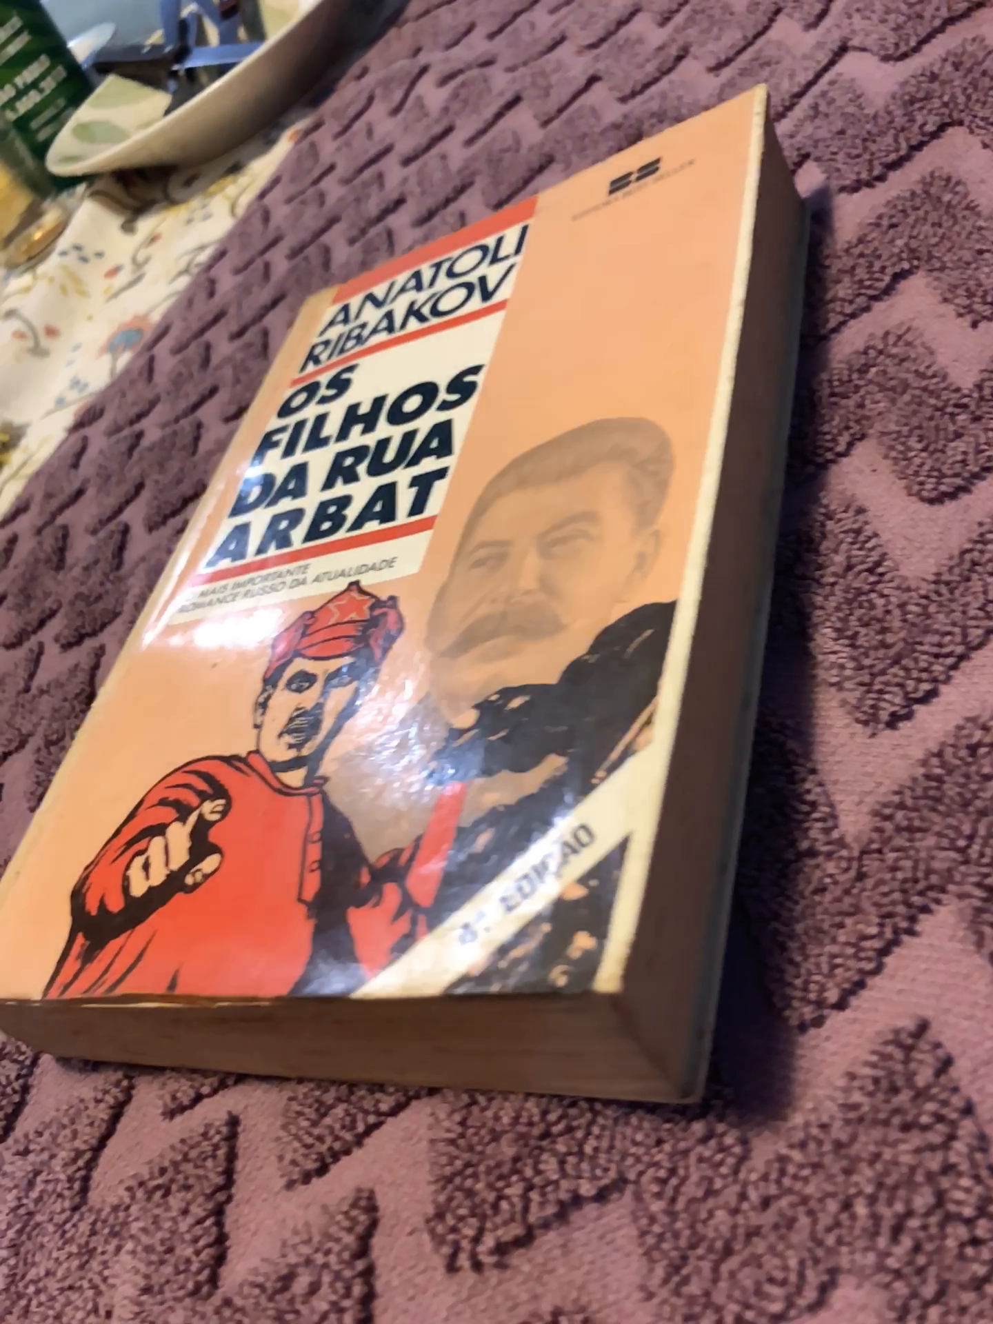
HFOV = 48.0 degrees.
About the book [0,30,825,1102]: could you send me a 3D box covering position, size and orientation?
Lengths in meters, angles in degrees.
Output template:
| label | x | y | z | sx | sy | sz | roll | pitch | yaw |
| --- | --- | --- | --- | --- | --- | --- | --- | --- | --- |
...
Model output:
| label | x | y | z | sx | sy | sz | roll | pitch | yaw |
| --- | --- | --- | --- | --- | --- | --- | --- | --- | --- |
| book | -0.015 | -0.023 | 0.214 | 0.140 | 0.040 | 0.191 | -11 | 50 | 31 |
